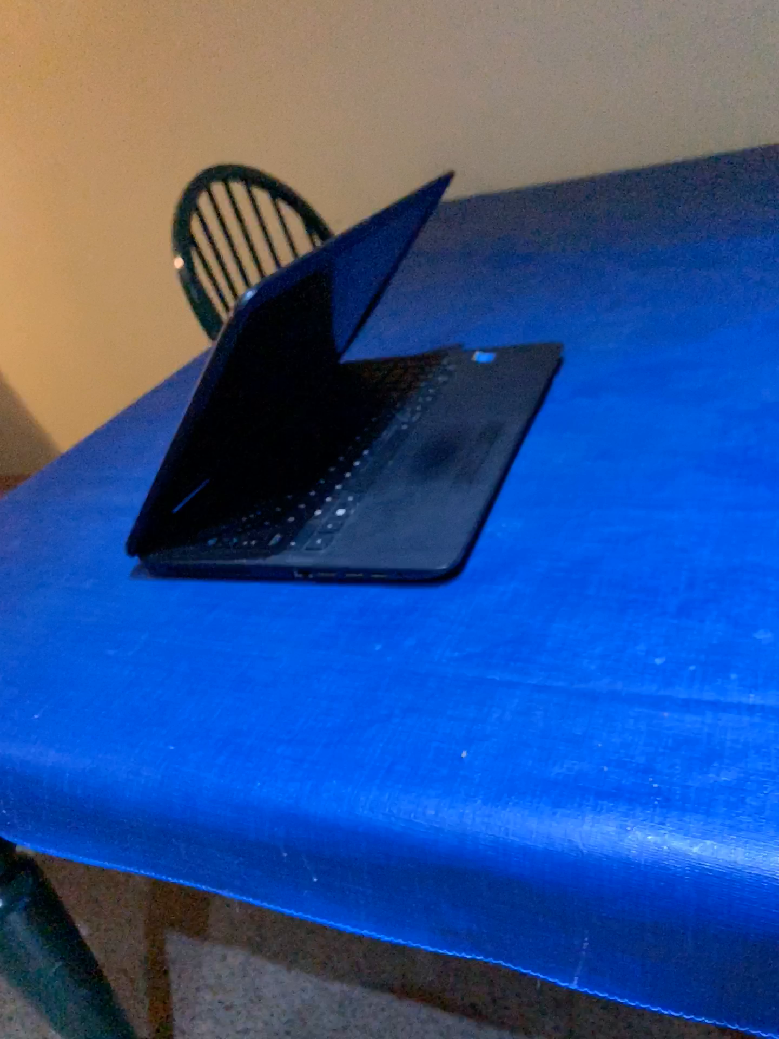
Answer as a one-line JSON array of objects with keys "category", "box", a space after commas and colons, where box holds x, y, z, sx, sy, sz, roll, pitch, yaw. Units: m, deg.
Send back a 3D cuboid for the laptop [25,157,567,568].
[{"category": "laptop", "box": [-0.031, -0.142, 0.641, 0.252, 0.167, 0.373, 0, 32, 25]}]
